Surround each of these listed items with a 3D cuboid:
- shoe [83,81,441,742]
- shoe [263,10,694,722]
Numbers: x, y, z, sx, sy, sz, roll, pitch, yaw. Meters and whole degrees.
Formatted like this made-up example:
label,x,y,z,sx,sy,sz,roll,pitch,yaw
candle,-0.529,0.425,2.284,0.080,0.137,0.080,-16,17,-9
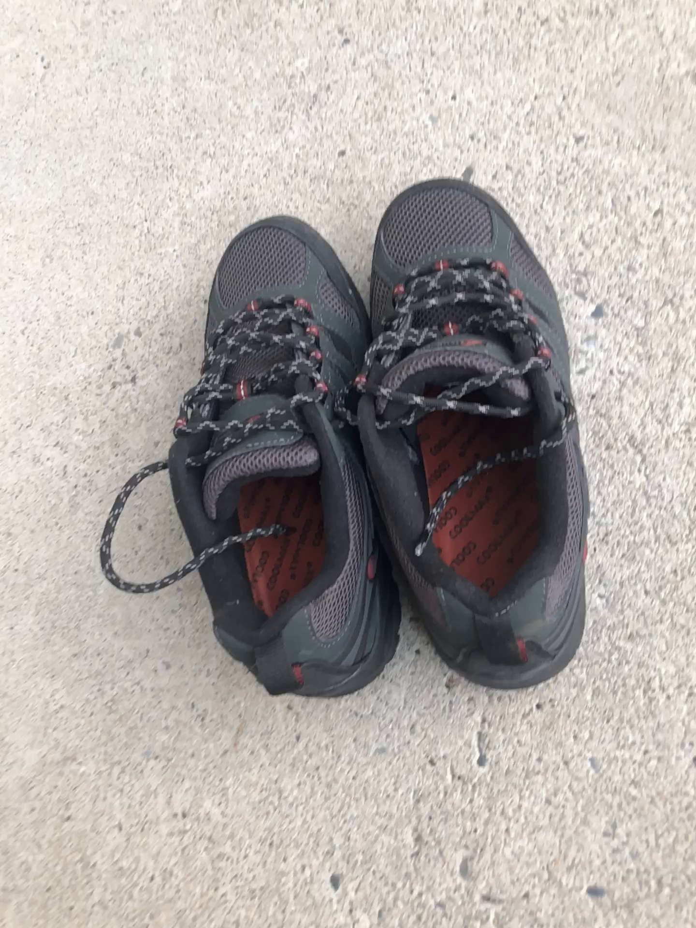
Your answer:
label,x,y,z,sx,sy,sz,roll,pitch,yaw
shoe,-0.048,-0.025,0.405,0.120,0.110,0.303,-14,71,13
shoe,0.053,-0.043,0.373,0.120,0.110,0.301,-14,71,13
